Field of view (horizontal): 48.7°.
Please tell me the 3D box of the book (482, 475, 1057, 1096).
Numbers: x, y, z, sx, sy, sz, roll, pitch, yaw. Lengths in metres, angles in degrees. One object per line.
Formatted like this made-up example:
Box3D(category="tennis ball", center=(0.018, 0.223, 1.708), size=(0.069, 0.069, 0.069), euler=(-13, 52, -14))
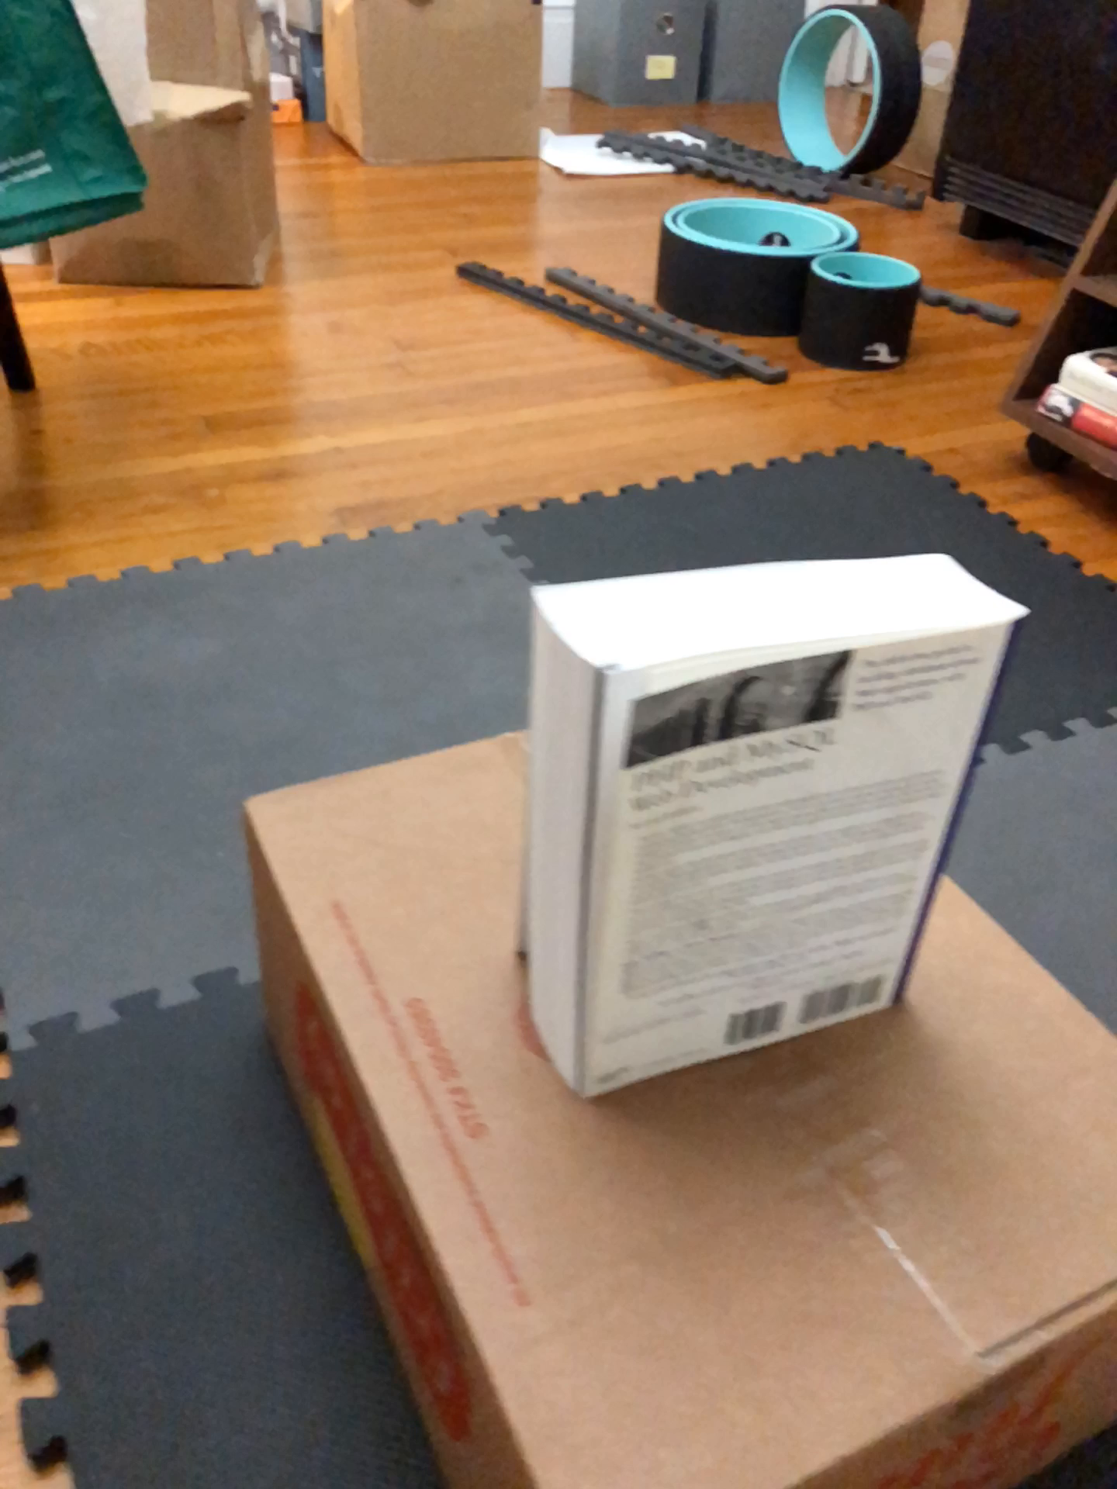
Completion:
Box3D(category="book", center=(0.073, 0.023, 0.550), size=(0.200, 0.258, 0.091), euler=(-4, 36, -11))
